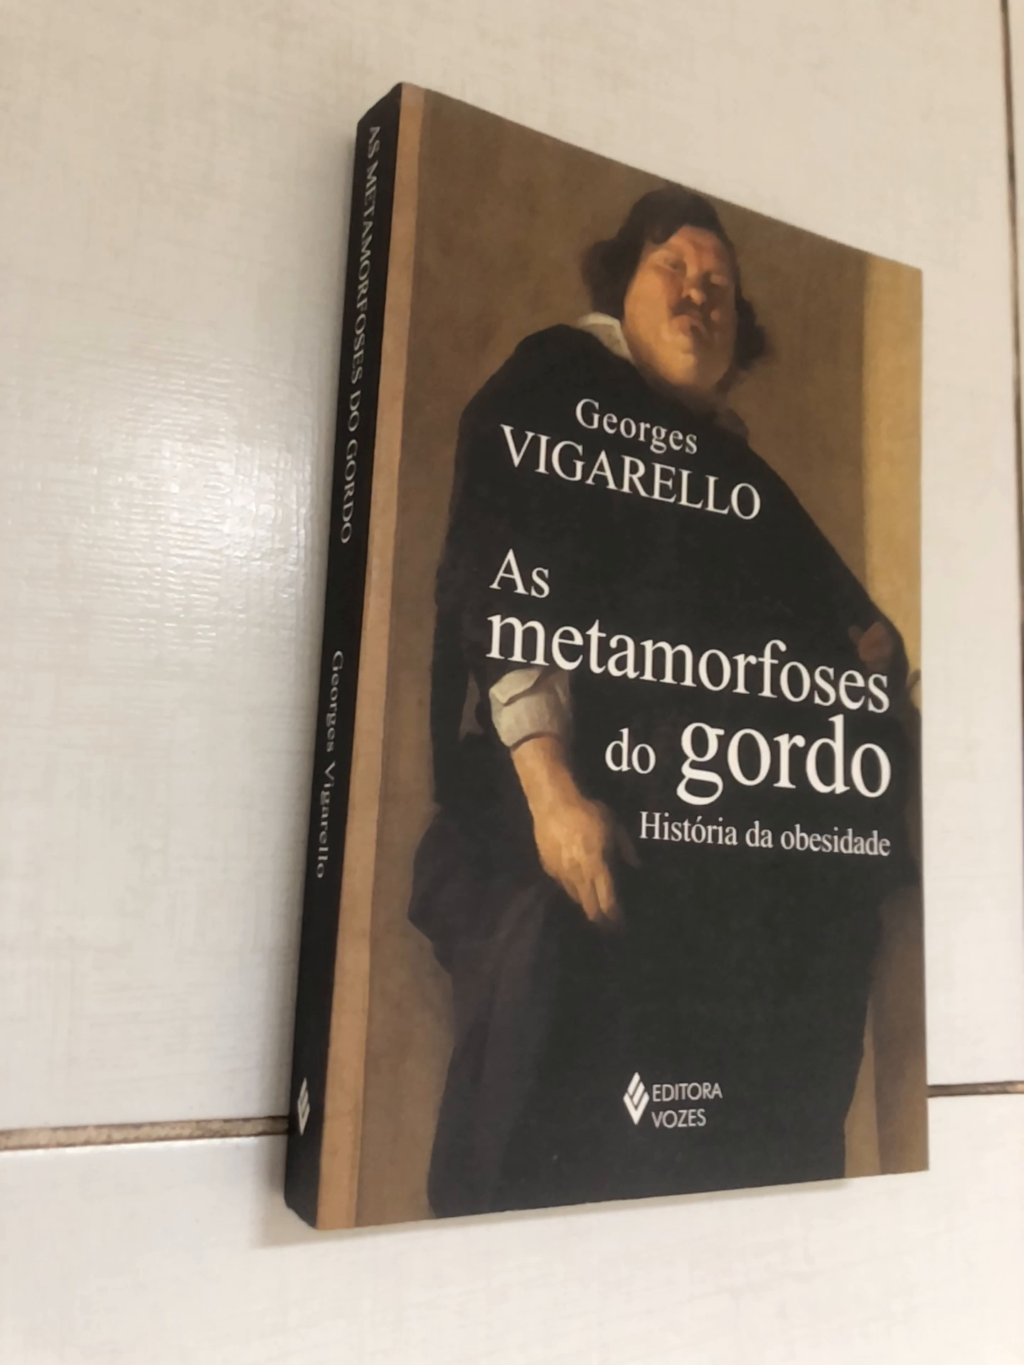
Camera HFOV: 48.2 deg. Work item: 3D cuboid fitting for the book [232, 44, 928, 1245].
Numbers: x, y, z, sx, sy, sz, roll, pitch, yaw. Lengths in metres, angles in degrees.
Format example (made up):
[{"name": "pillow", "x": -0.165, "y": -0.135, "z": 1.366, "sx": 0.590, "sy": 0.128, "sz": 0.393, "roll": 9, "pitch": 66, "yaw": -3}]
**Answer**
[{"name": "book", "x": 0.023, "y": -0.006, "z": 0.231, "sx": 0.137, "sy": 0.023, "sz": 0.204, "roll": 7, "pitch": 81, "yaw": -25}]
